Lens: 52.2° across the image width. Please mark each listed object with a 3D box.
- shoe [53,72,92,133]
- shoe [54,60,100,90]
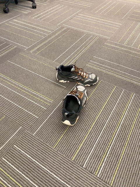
[{"bbox_3d":[0.028,0.044,0.906,0.140,0.149,0.341,14,51,11],"label":"shoe"},{"bbox_3d":[0.053,-0.132,1.029,0.300,0.119,0.121,10,50,8],"label":"shoe"}]
